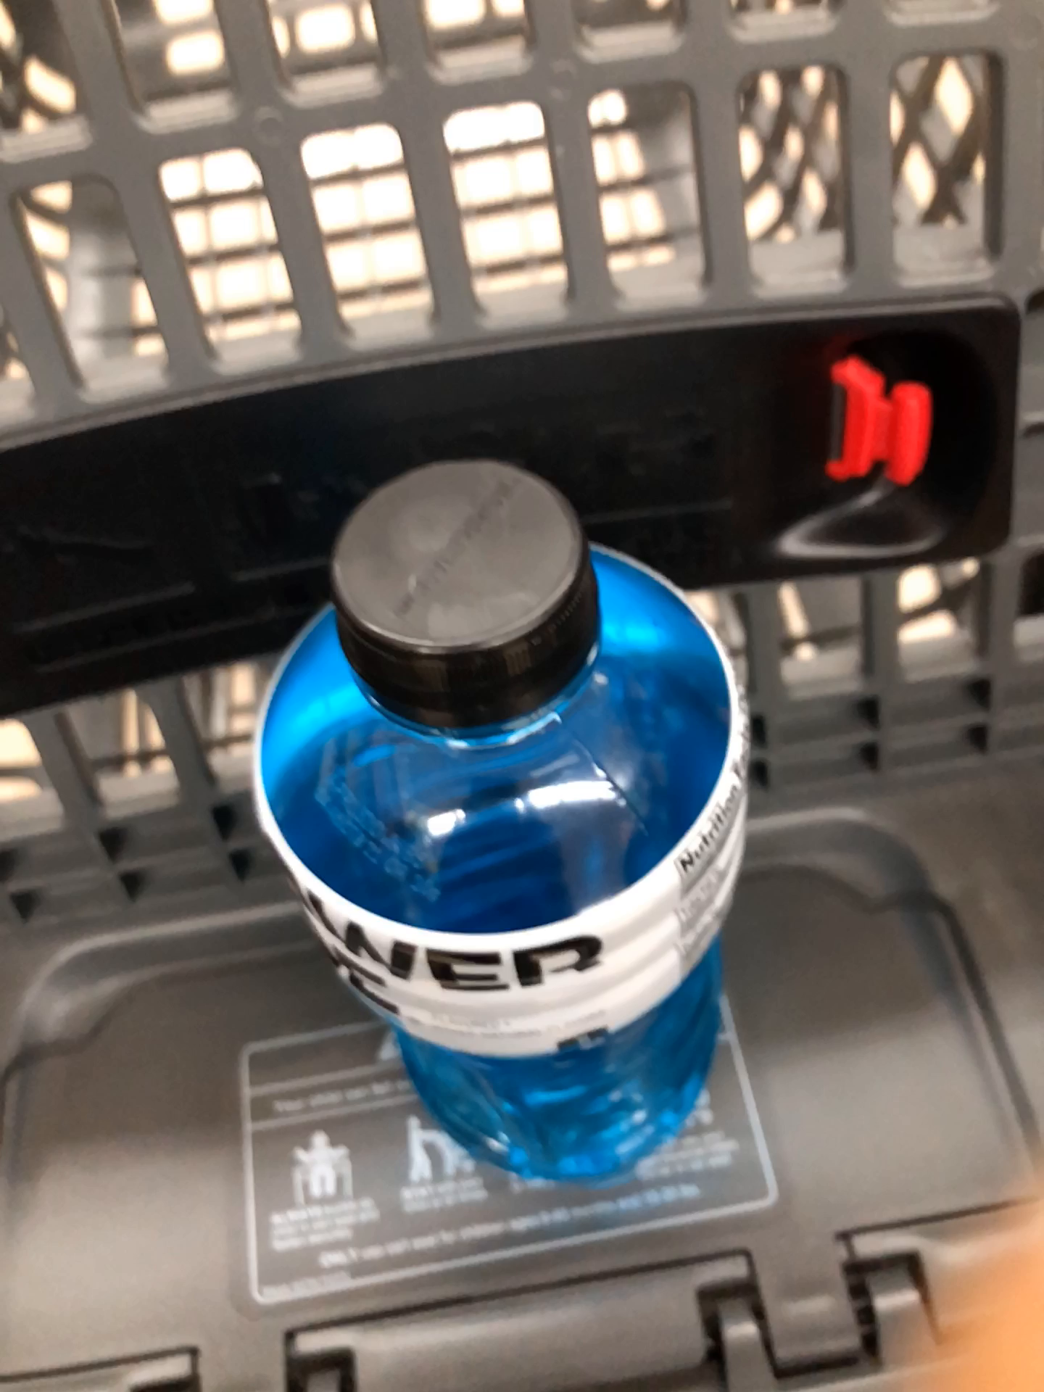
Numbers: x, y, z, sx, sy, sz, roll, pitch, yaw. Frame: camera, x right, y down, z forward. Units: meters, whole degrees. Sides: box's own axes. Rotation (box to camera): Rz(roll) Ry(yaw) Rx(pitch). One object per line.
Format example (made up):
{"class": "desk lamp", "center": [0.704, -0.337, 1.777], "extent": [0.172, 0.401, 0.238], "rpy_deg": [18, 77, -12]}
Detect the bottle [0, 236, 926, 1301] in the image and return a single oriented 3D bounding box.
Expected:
{"class": "bottle", "center": [0.002, 0.036, 0.265], "extent": [0.100, 0.220, 0.100], "rpy_deg": [-4, 53, 5]}
